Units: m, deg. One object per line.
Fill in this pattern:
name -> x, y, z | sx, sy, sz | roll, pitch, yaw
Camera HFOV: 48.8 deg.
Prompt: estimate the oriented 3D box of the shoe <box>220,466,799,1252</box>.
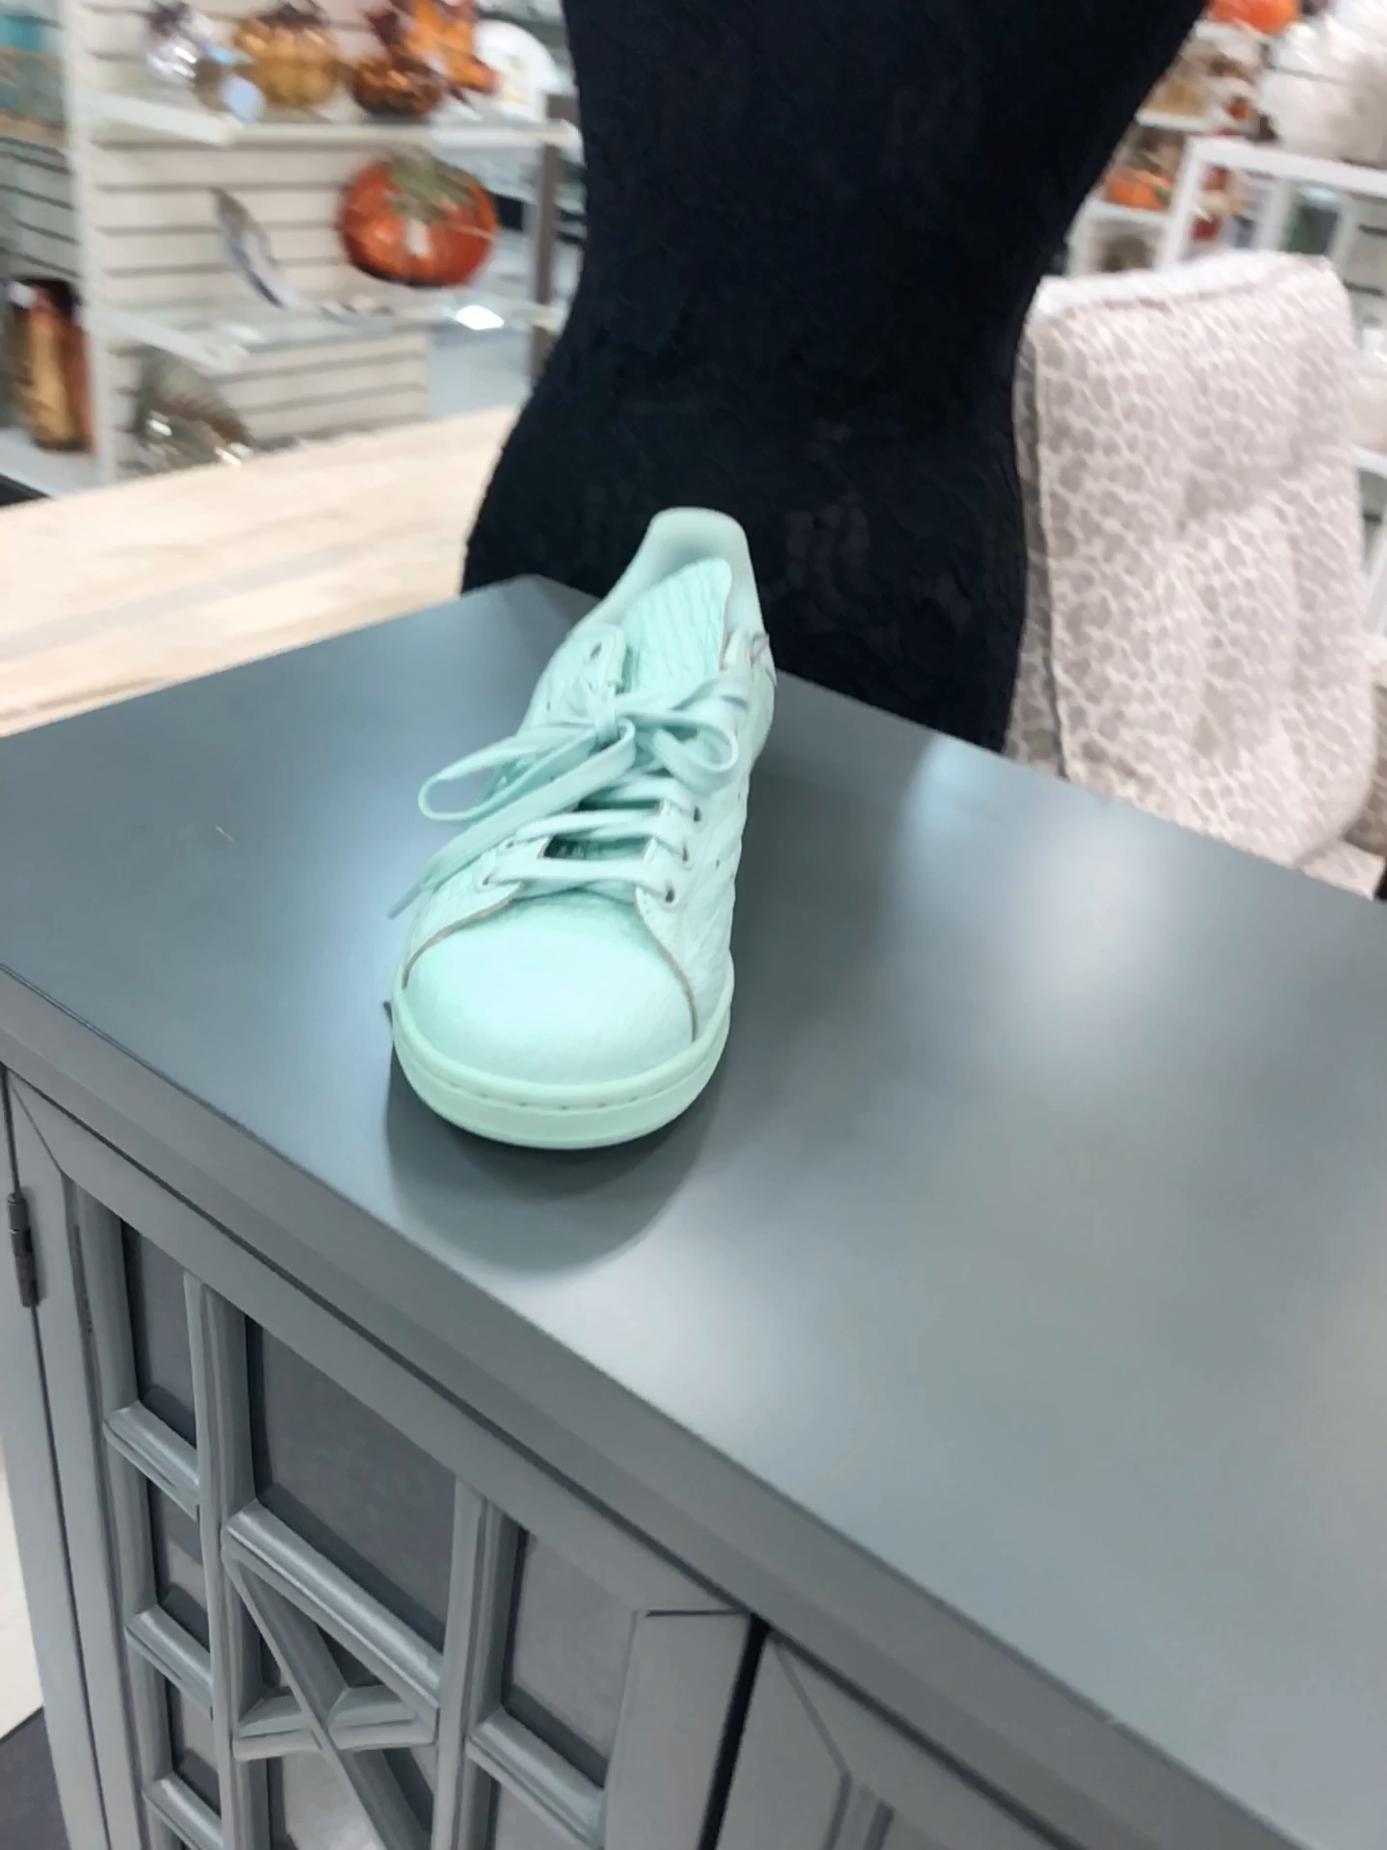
shoe -> -0.037, -0.041, 0.454 | 0.106, 0.112, 0.254 | 9, 31, 3
